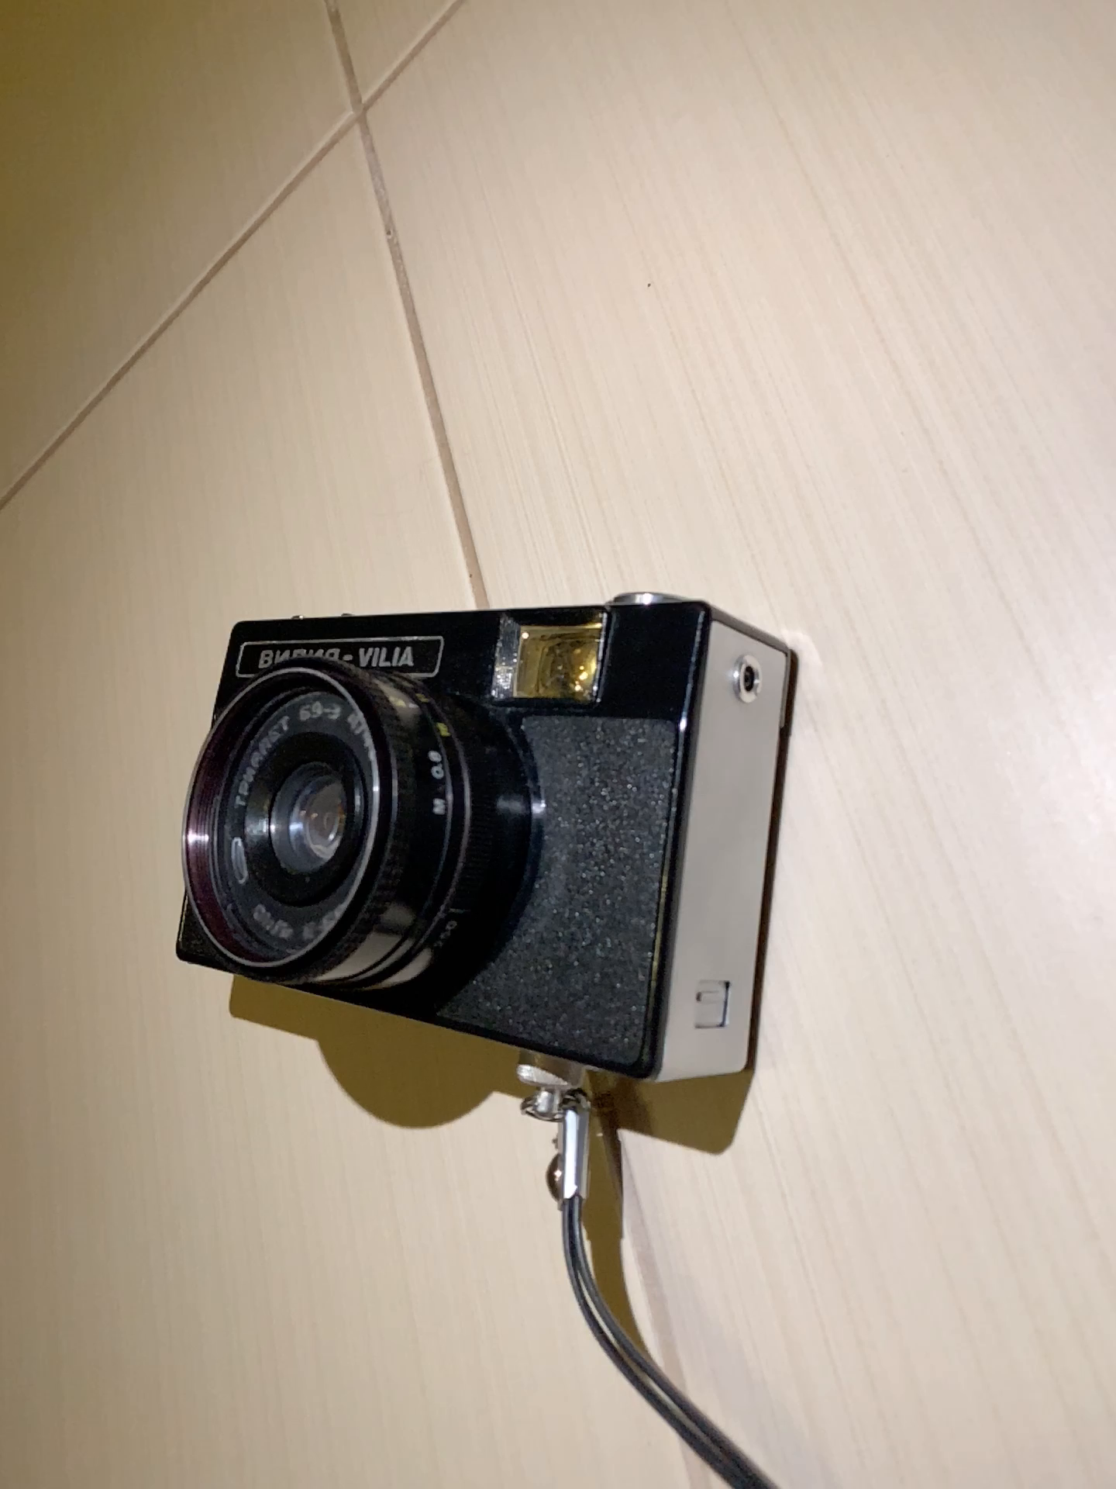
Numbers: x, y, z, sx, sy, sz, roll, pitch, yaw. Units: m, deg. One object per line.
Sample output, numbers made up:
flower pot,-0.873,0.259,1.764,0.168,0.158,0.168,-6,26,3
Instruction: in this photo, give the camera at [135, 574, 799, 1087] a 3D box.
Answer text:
camera,-0.024,0.012,0.219,0.125,0.041,0.073,3,83,41
